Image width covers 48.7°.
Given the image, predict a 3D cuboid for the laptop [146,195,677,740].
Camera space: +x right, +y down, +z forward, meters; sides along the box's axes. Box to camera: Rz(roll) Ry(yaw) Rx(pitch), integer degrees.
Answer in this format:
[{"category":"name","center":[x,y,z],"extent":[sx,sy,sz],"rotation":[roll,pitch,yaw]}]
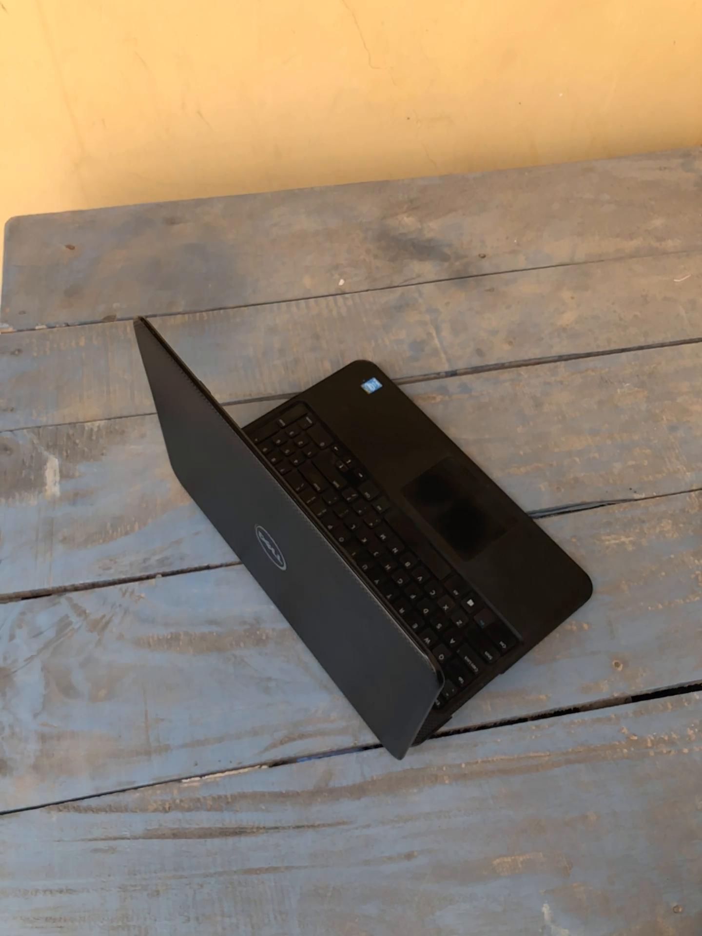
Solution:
[{"category":"laptop","center":[0.031,-0.001,0.674],"extent":[0.225,0.234,0.341],"rotation":[-33,65,-18]}]
